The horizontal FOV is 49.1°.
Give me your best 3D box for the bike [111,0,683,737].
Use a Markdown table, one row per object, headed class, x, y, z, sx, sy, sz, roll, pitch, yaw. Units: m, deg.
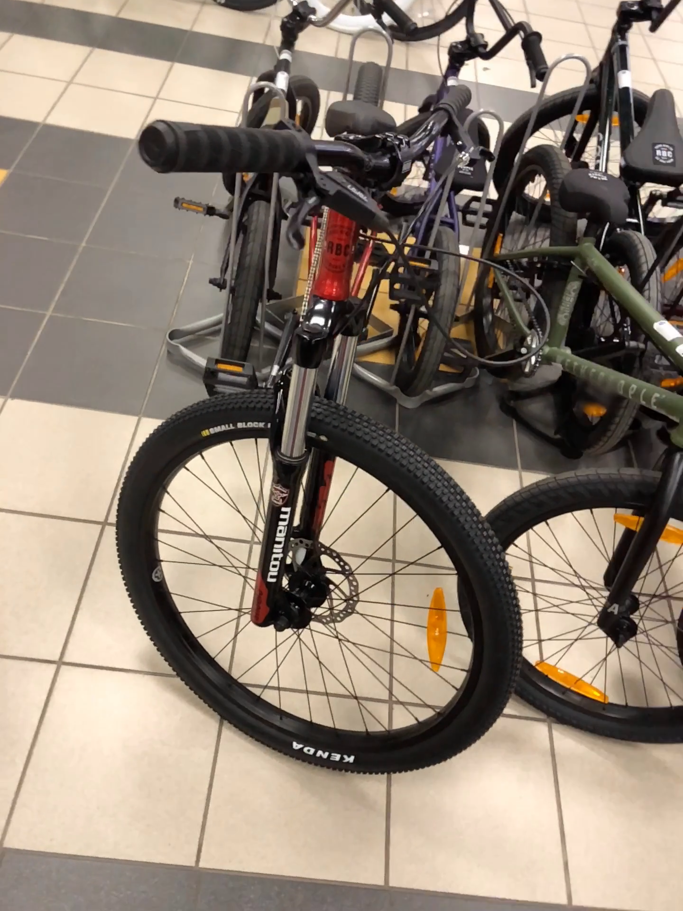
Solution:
| class | x | y | z | sx | sy | sz | roll | pitch | yaw |
| --- | --- | --- | --- | --- | --- | --- | --- | --- | --- |
| bike | 0.060 | -0.392 | 1.329 | 0.711 | 0.998 | 1.343 | 3 | 48 | -9 |
